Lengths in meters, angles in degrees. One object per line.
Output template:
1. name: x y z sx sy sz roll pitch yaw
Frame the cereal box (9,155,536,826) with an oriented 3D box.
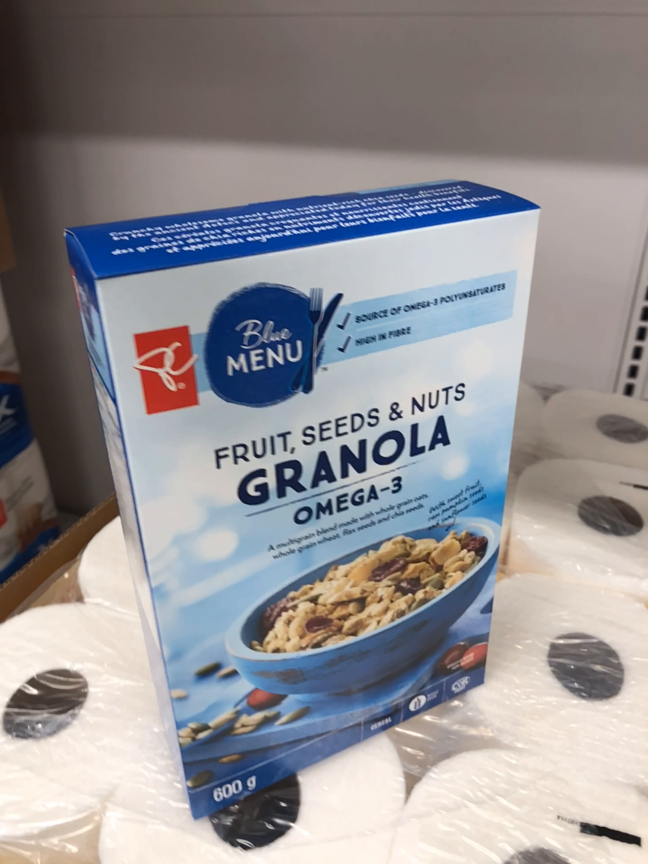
1. cereal box: -0.011 0.026 0.294 0.160 0.239 0.060 -15 32 -21
